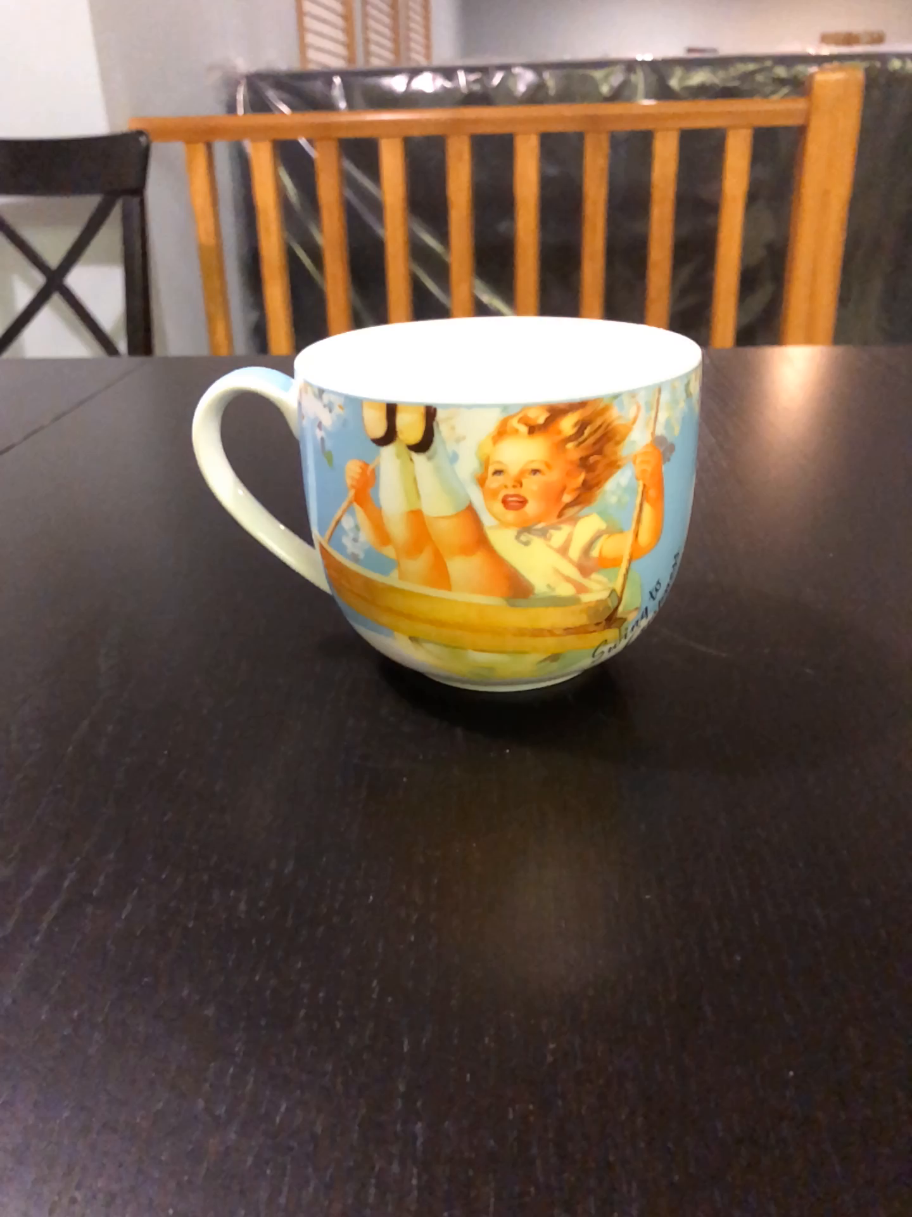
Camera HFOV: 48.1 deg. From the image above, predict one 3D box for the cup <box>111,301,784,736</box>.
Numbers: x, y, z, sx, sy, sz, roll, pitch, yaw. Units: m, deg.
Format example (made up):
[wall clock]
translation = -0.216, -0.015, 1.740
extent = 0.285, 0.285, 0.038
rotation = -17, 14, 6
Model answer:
[cup]
translation = 0.002, -0.034, 0.300
extent = 0.150, 0.090, 0.121
rotation = 0, 24, 4
